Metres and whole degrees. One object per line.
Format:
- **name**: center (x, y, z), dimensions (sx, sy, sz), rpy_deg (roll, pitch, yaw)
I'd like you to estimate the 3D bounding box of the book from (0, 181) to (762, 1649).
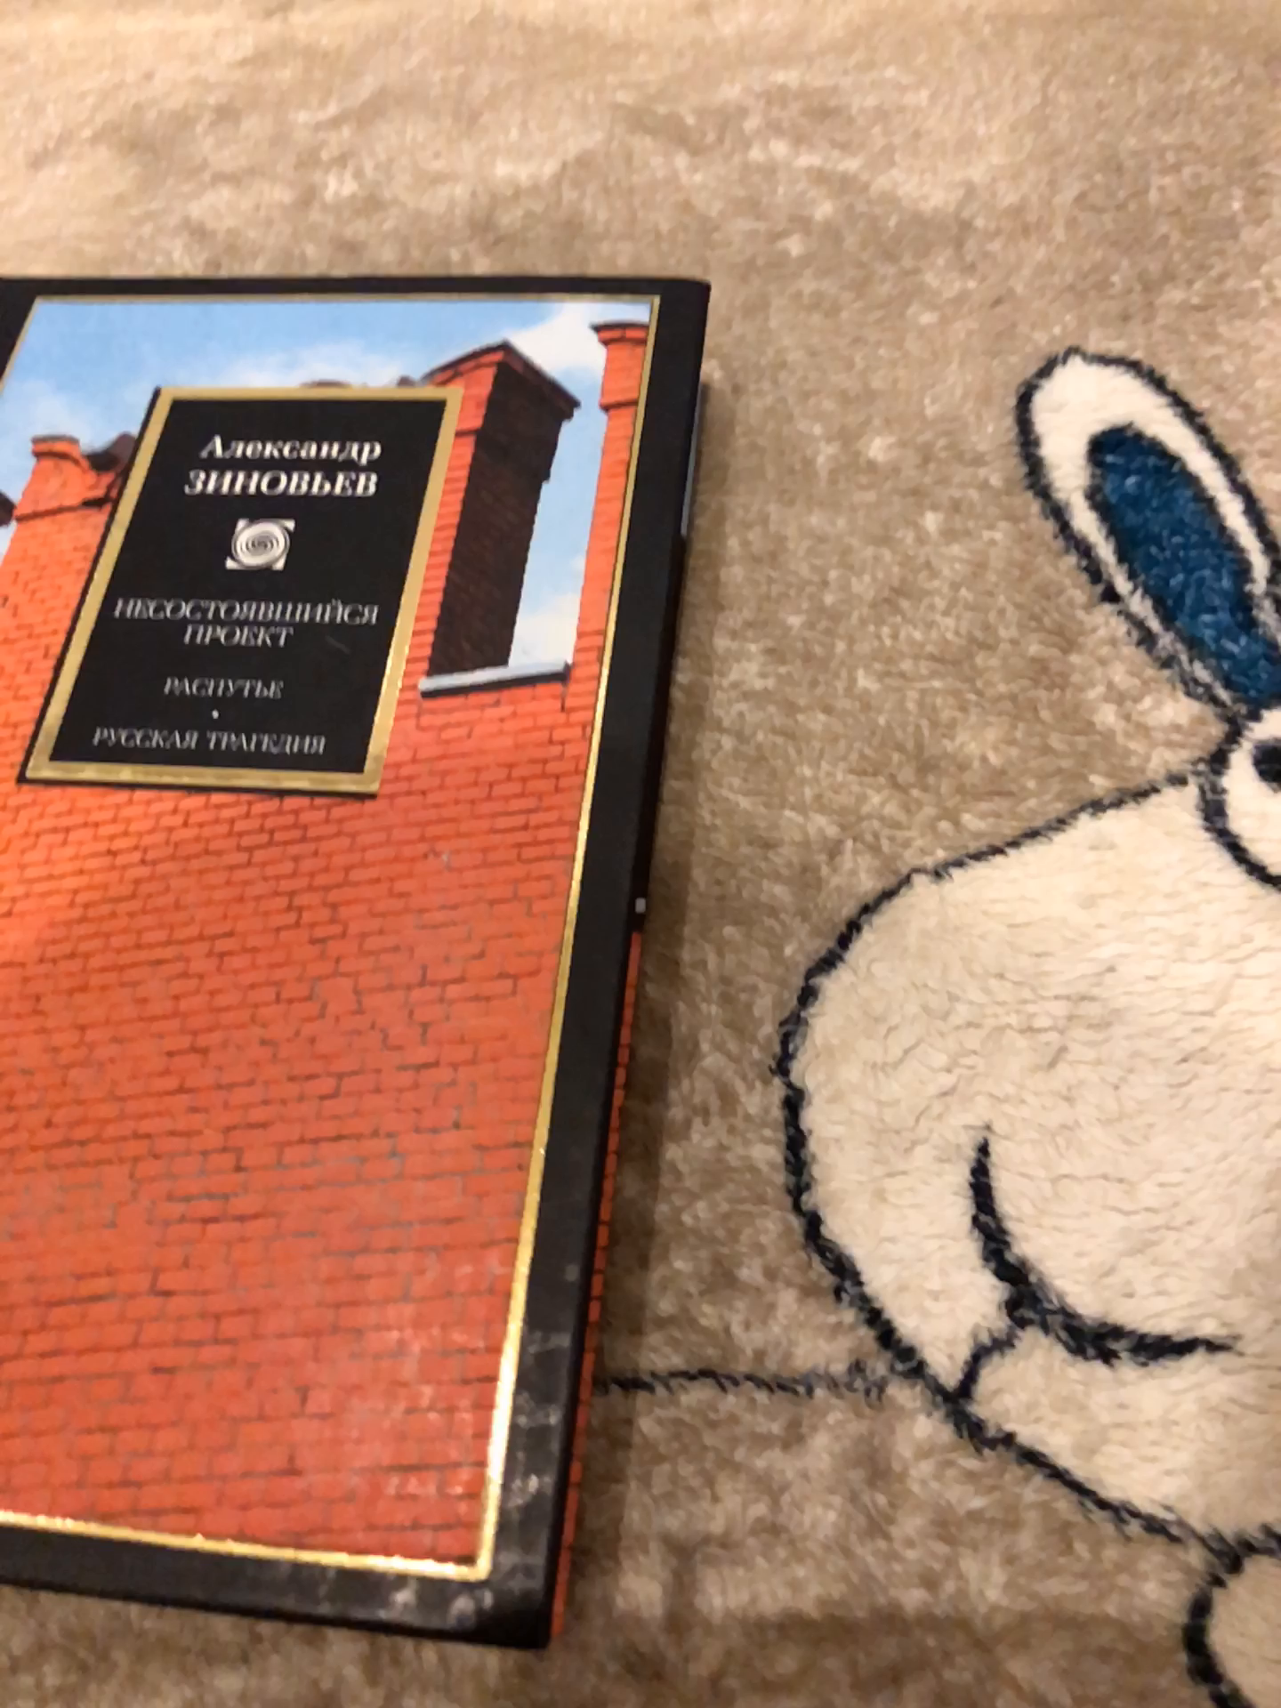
- **book**: center (-0.061, -0.013, 0.210), dimensions (0.140, 0.040, 0.211), rpy_deg (4, 62, 8)
